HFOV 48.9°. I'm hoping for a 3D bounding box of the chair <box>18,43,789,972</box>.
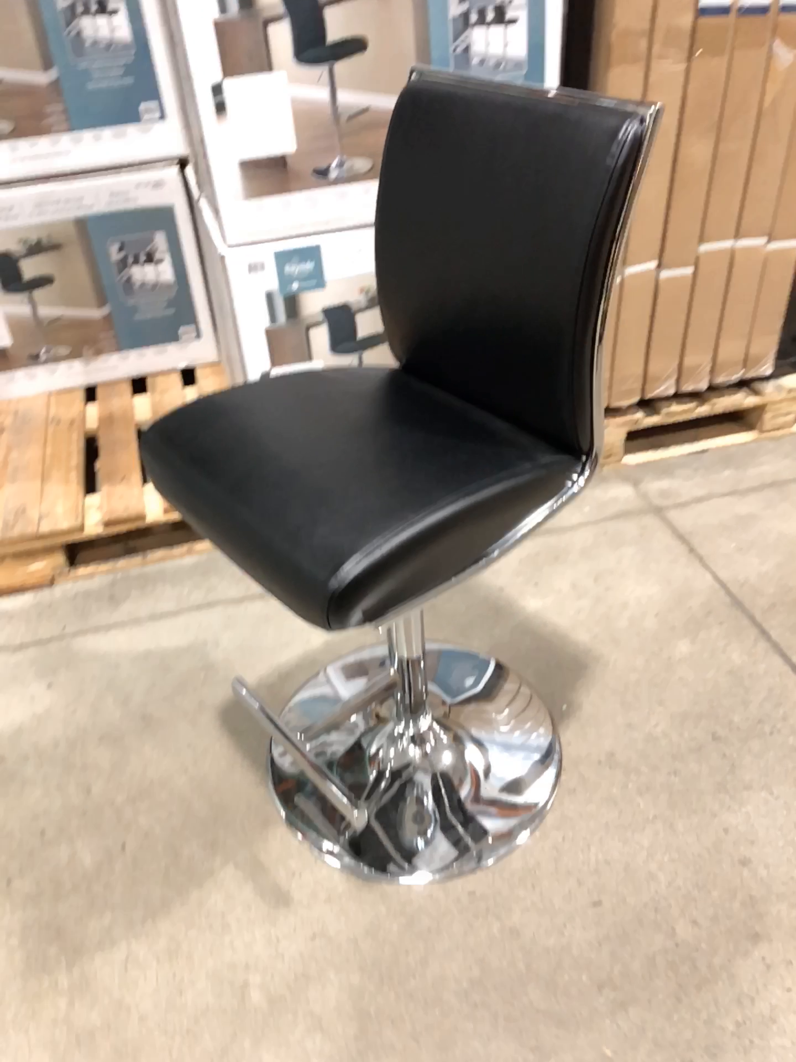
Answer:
[{"bbox_3d":[0.016,-0.040,1.144,0.541,0.946,0.531,-30,45,-32],"label":"chair"}]
